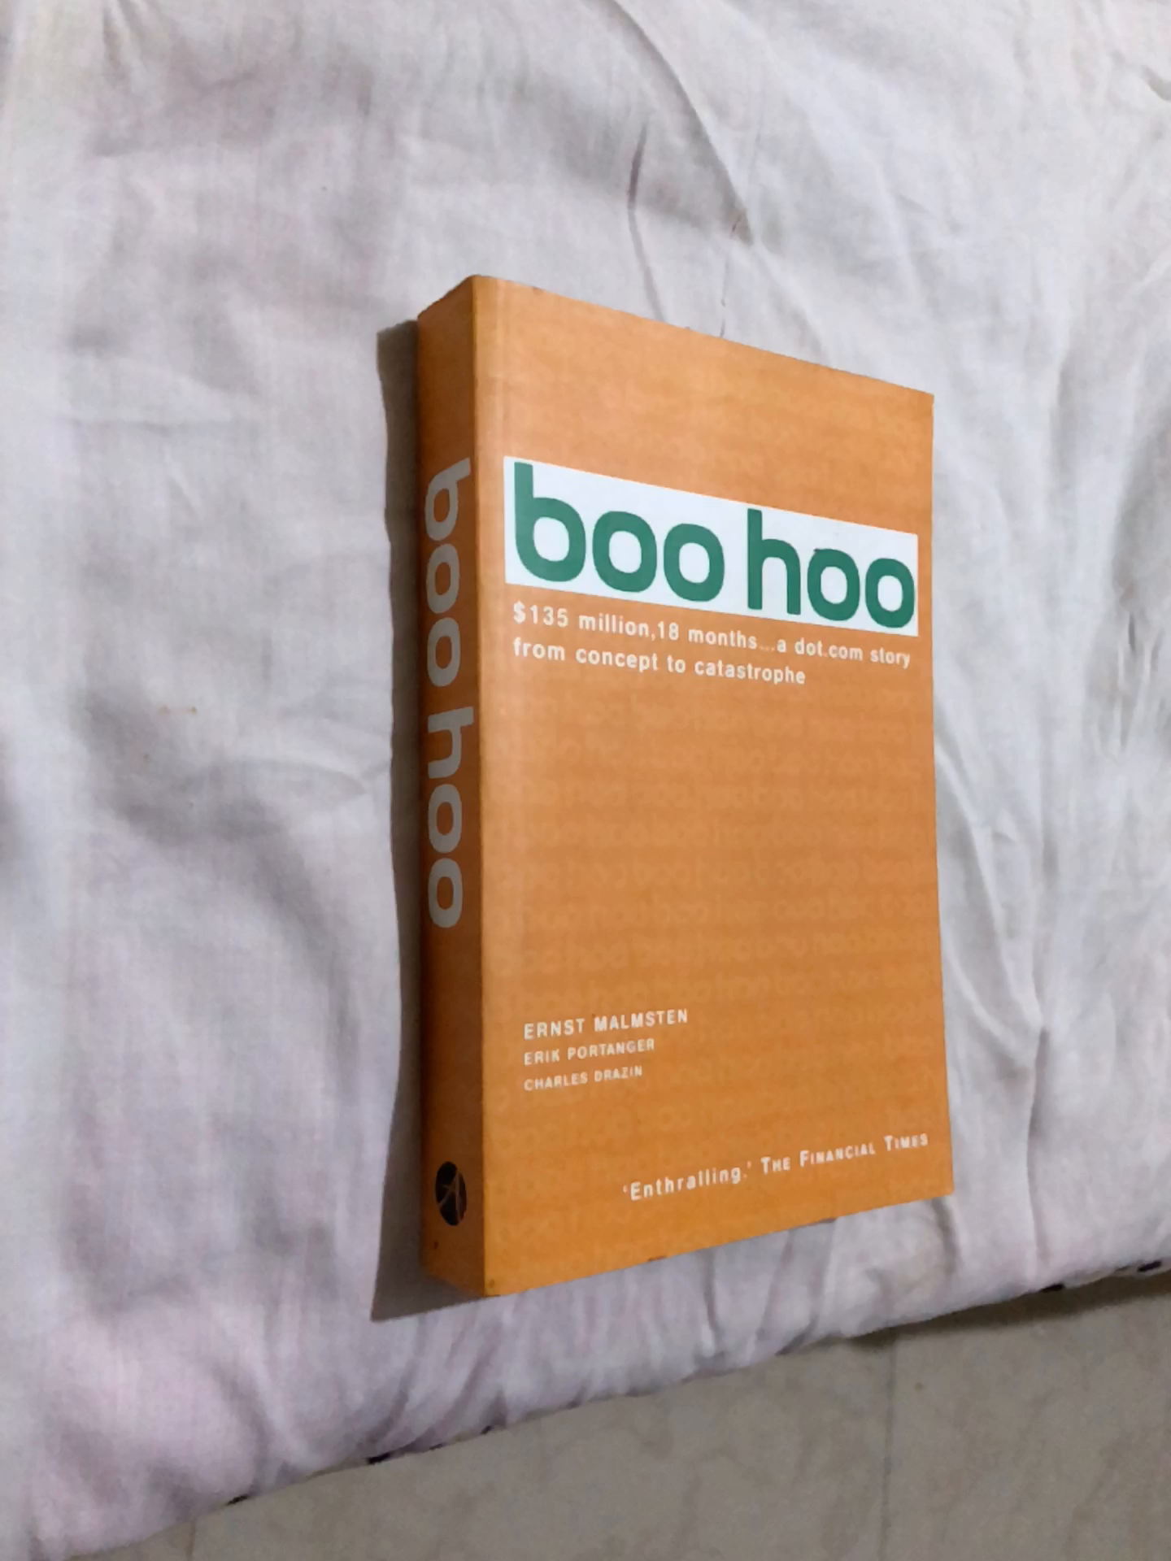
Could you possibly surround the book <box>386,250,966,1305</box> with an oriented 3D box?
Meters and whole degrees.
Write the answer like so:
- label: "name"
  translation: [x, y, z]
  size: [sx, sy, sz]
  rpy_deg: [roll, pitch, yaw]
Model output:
- label: "book"
  translation: [0.023, 0.000, 0.298]
  size: [0.131, 0.040, 0.200]
  rpy_deg: [1, 87, -31]
